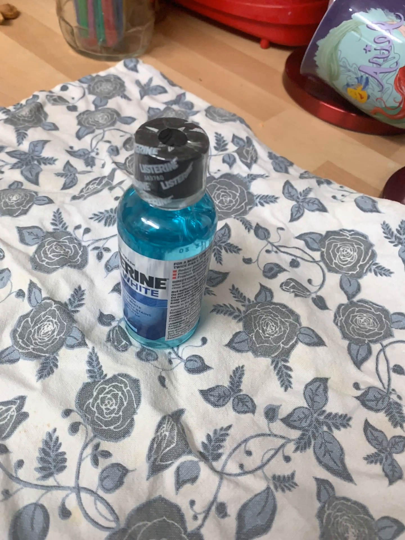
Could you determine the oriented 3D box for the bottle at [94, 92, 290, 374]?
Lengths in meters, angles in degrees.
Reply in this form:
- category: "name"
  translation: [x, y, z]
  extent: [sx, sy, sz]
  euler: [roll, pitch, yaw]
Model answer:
- category: "bottle"
  translation: [-0.011, -0.009, 0.179]
  extent: [0.050, 0.109, 0.050]
  euler: [4, 51, -5]
